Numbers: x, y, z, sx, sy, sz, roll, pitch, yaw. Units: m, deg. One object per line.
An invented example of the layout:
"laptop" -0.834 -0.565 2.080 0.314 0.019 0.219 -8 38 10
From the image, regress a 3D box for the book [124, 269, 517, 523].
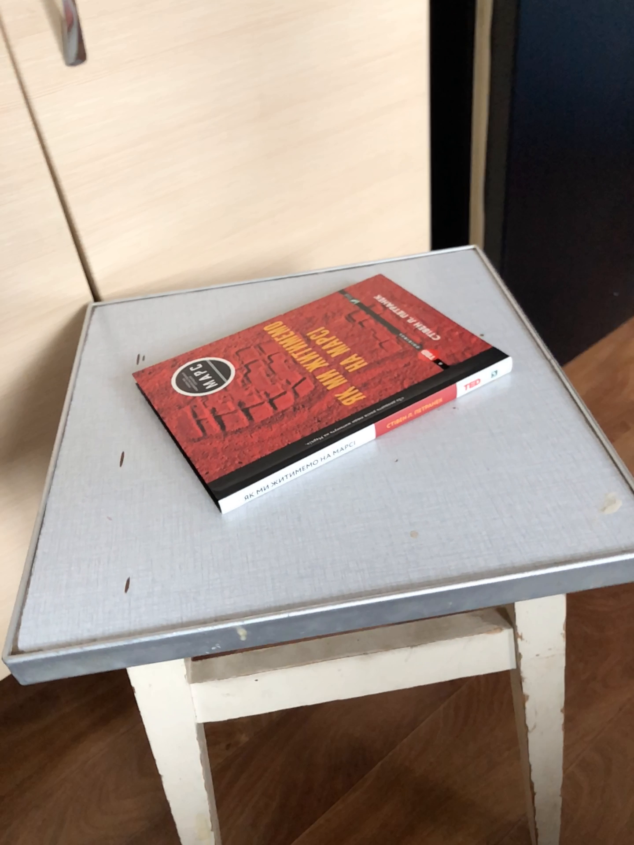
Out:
"book" -0.001 -0.032 0.461 0.214 0.015 0.146 -25 43 -19
